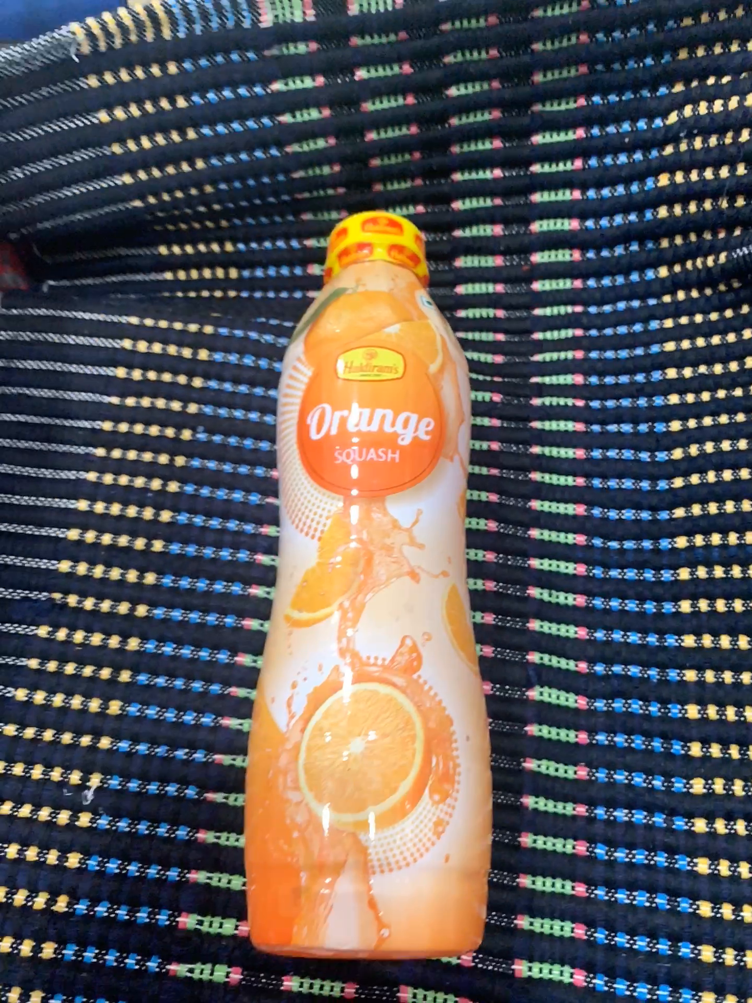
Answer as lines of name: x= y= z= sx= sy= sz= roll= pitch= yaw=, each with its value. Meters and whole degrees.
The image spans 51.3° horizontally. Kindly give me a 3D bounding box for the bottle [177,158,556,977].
bottle: x=0.002 y=0.002 z=0.250 sx=0.080 sy=0.060 sz=0.250 roll=0 pitch=62 yaw=2
